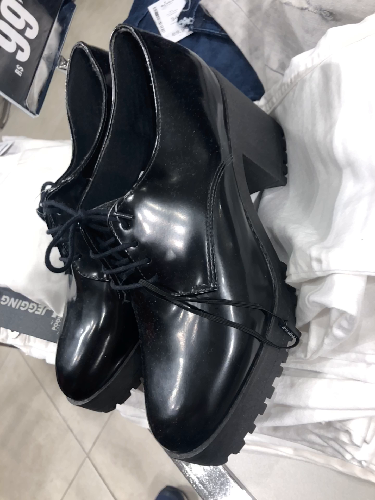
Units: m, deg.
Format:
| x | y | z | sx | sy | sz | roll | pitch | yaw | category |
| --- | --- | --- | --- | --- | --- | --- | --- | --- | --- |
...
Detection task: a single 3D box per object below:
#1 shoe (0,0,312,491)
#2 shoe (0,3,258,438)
| x | y | z | sx | sy | sz | roll | pitch | yaw | category |
| --- | --- | --- | --- | --- | --- | --- | --- | --- | --- |
| -0.010 | -0.006 | 0.272 | 0.100 | 0.149 | 0.260 | -10 | 59 | 42 | shoe |
| -0.059 | -0.014 | 0.328 | 0.100 | 0.159 | 0.260 | -1 | 65 | 45 | shoe |
